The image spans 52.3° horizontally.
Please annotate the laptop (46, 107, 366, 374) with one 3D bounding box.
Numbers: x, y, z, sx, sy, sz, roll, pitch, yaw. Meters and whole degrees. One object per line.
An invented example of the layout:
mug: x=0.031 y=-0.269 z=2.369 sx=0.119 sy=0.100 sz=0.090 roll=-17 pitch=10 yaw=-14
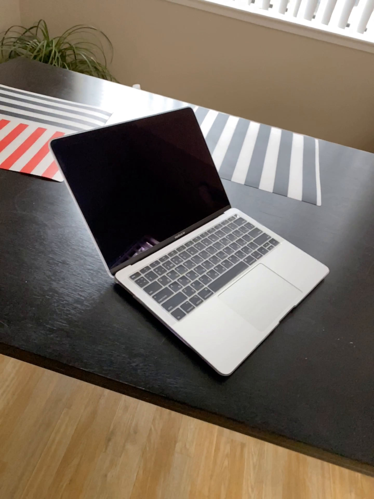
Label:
laptop: x=0.024 y=-0.057 z=0.590 sx=0.362 sy=0.139 sz=0.298 roll=36 pitch=45 yaw=24
